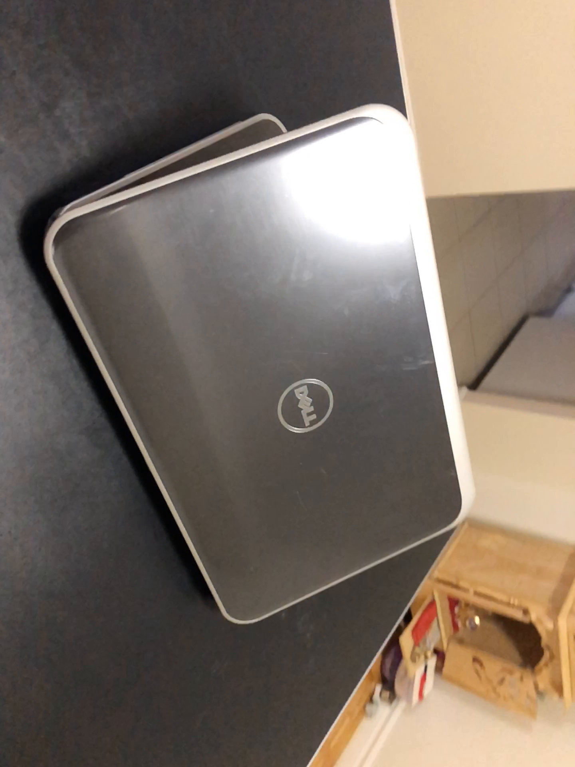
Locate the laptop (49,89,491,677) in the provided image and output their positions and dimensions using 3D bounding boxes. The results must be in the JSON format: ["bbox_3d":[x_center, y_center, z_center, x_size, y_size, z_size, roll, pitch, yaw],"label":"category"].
[{"bbox_3d":[0.026,-0.001,0.504,0.240,0.137,0.356,-44,128,-37],"label":"laptop"}]
